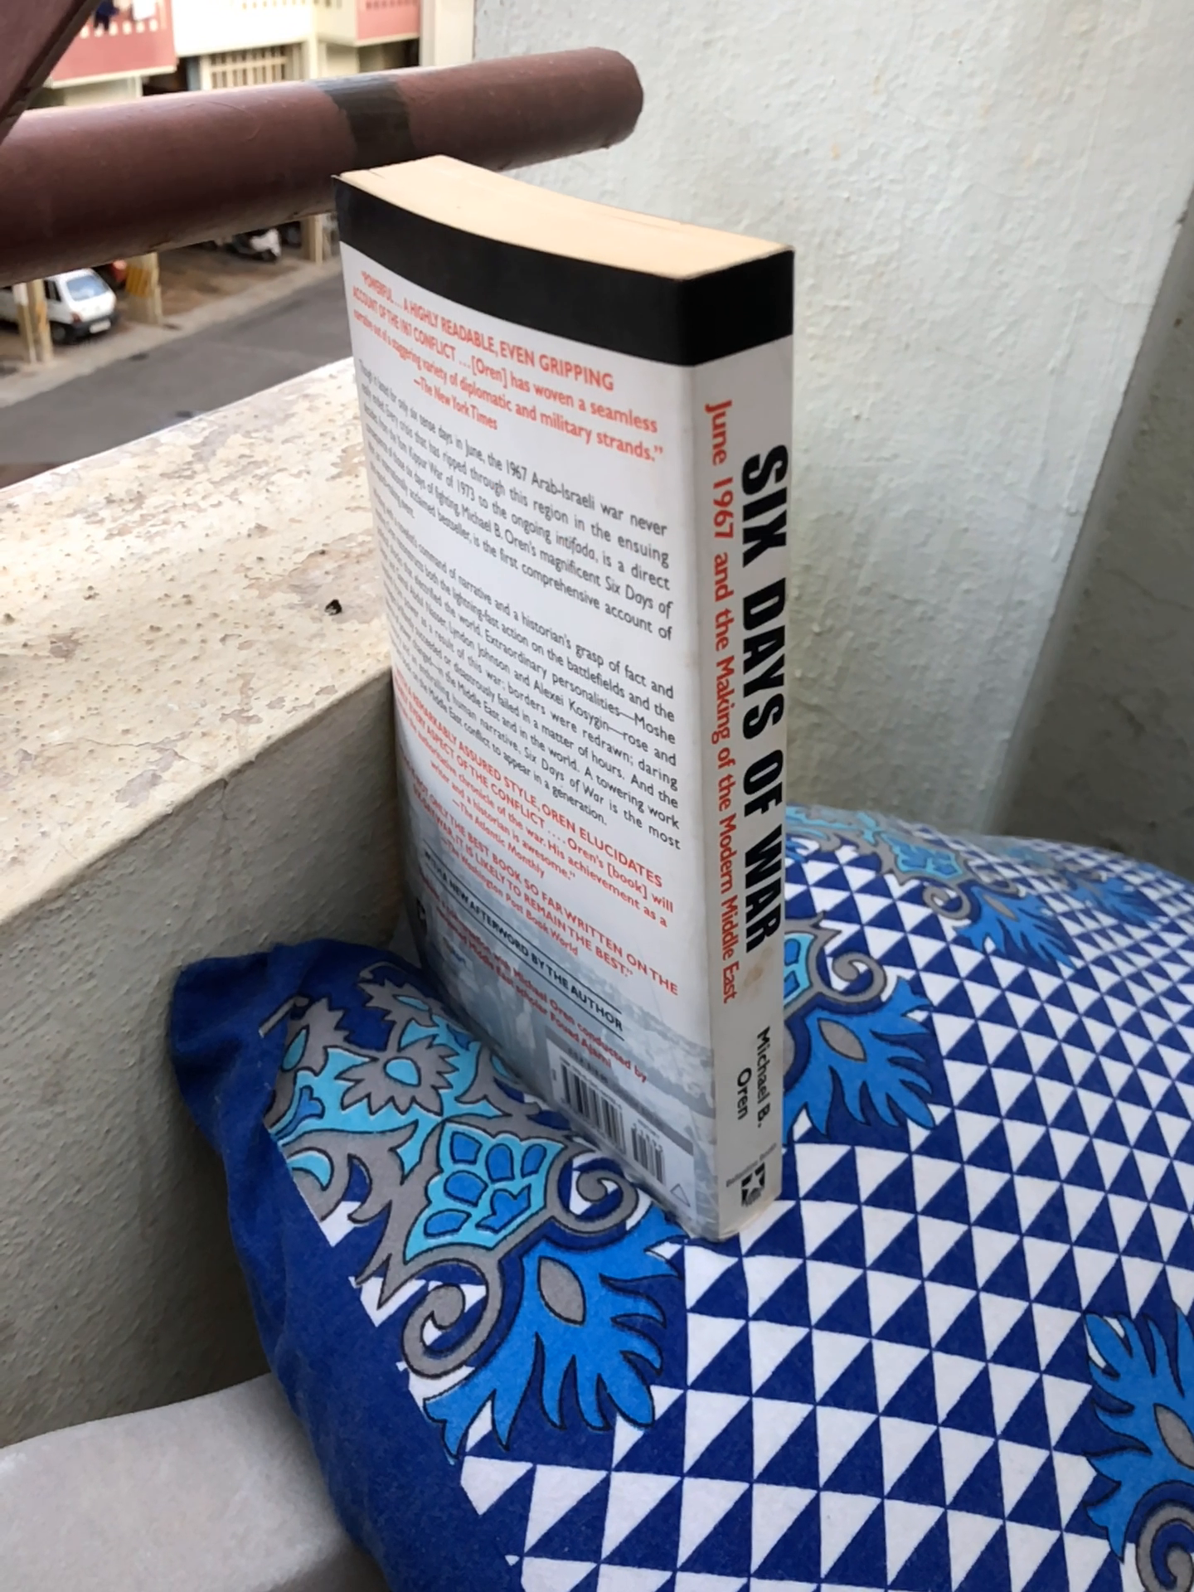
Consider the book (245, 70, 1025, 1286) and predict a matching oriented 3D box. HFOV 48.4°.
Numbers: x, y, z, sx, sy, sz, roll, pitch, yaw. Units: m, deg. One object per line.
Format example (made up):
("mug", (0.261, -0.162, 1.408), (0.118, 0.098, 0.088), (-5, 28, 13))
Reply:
("book", (-0.008, -0.027, 0.334), (0.050, 0.249, 0.180), (-24, 44, -30))
